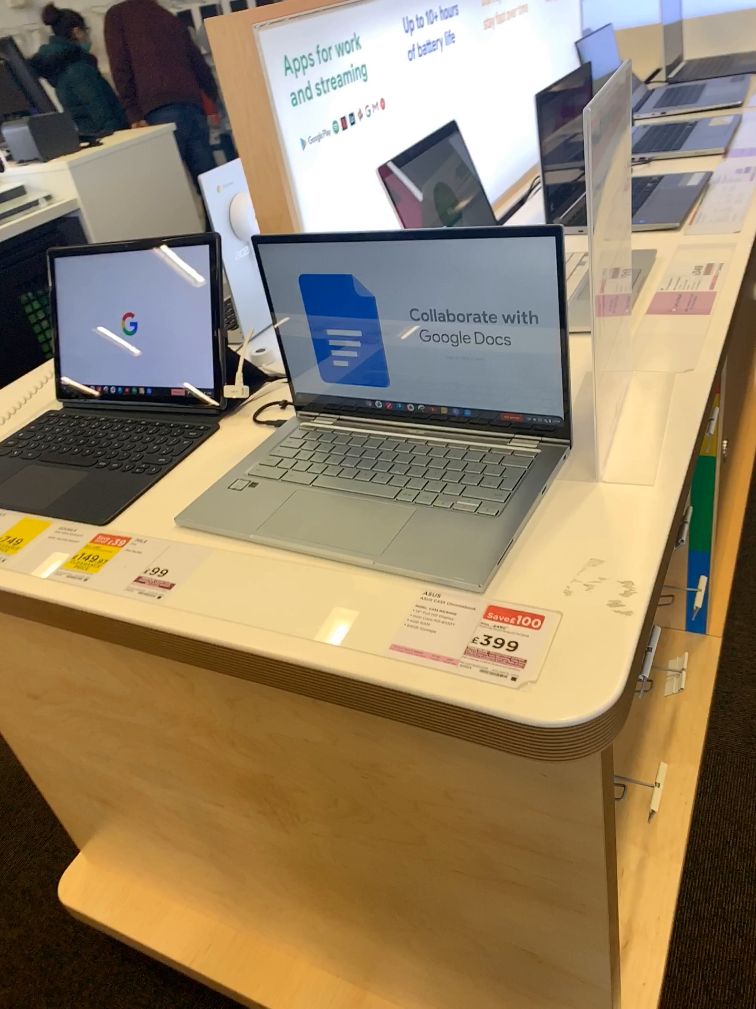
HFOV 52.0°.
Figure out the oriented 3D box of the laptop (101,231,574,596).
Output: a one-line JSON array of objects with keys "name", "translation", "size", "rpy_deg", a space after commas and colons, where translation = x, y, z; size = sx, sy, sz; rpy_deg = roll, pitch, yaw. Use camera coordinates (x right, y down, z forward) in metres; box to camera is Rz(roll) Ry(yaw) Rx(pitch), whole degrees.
[{"name": "laptop", "translation": [-0.023, -0.097, 0.665], "size": [0.317, 0.195, 0.204], "rpy_deg": [10, 40, 31]}]
